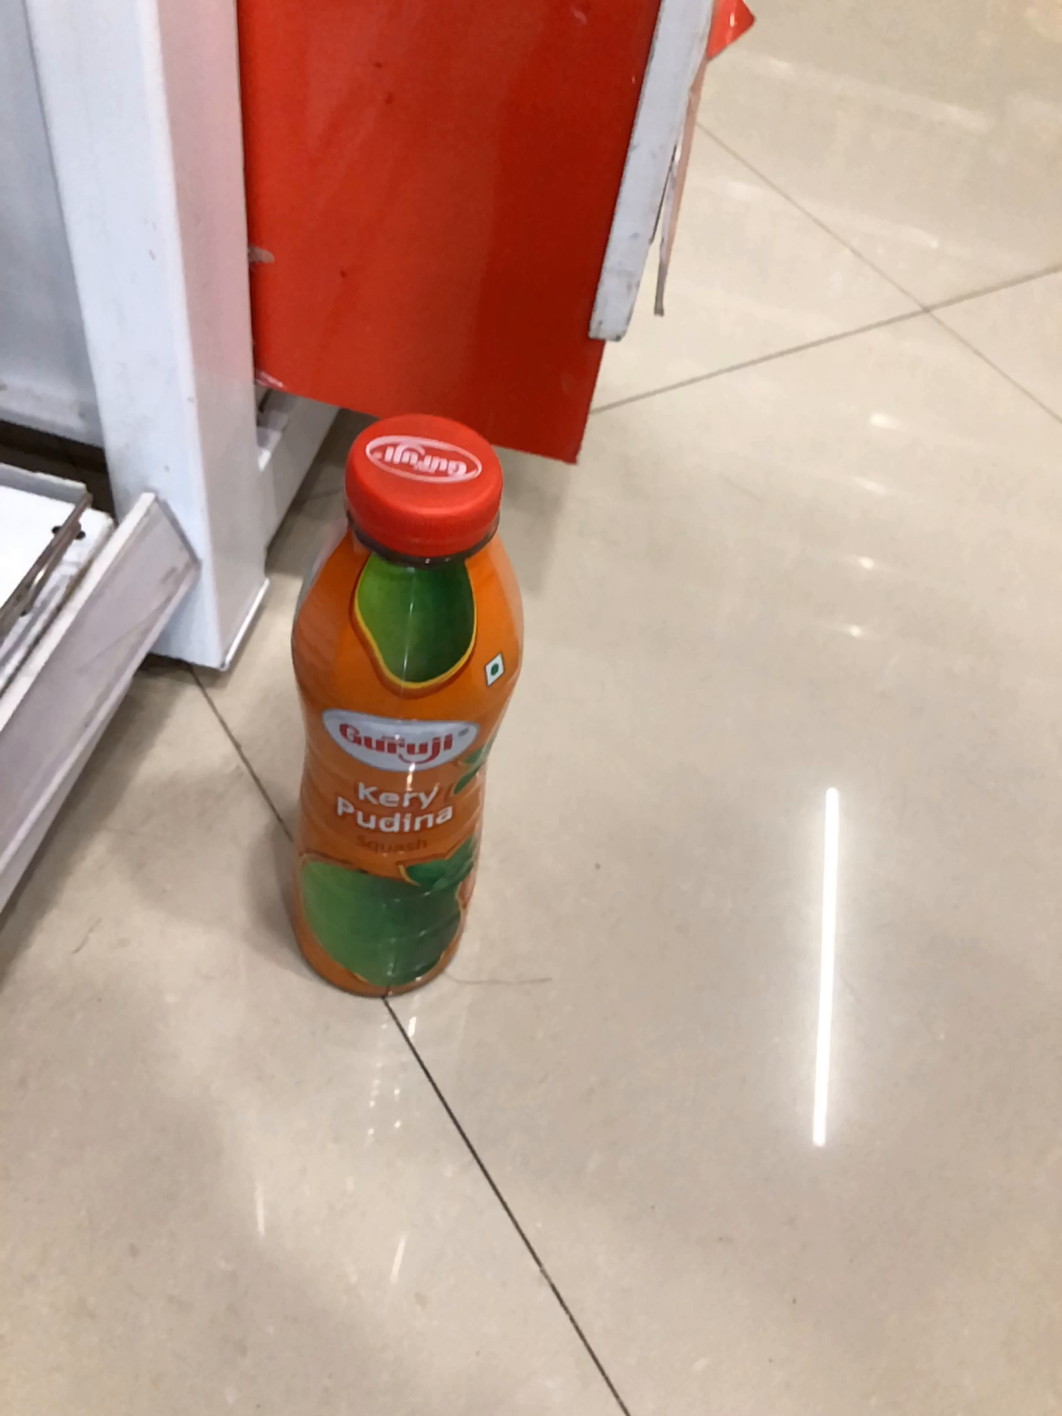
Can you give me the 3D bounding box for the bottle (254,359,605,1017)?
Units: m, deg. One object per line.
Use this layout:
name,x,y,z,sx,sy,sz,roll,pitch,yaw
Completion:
bottle,-0.041,0.014,0.387,0.080,0.239,0.080,5,52,-7
